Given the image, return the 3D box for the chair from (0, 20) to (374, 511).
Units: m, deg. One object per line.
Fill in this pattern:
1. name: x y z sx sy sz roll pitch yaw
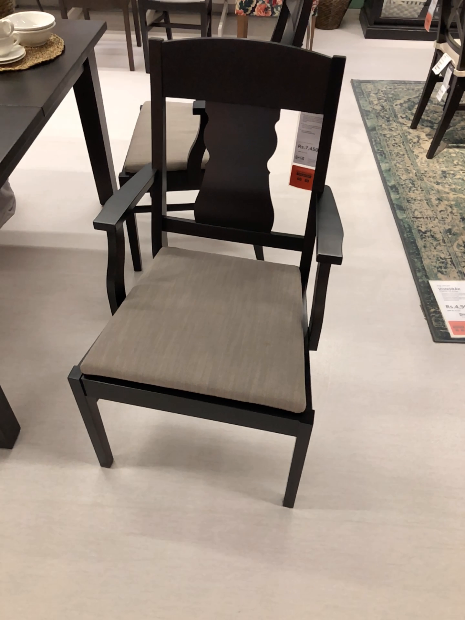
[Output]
1. chair: -0.050 -0.047 1.248 0.570 0.994 0.573 9 47 7
